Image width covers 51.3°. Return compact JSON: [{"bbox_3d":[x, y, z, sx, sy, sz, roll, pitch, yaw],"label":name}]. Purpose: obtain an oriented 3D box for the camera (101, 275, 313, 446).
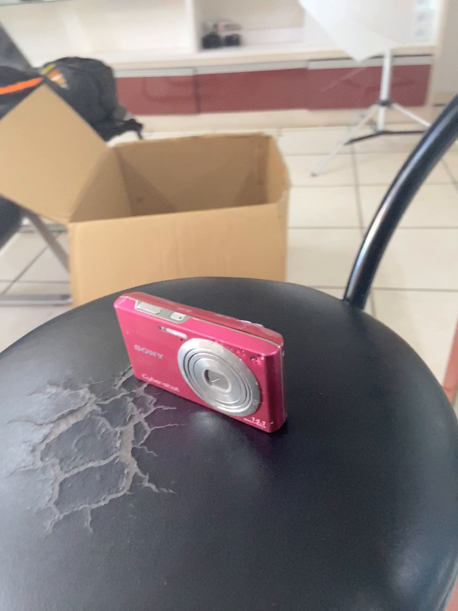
[{"bbox_3d":[-0.011,0.023,0.236,0.100,0.050,0.030,15,41,30],"label":"camera"}]
